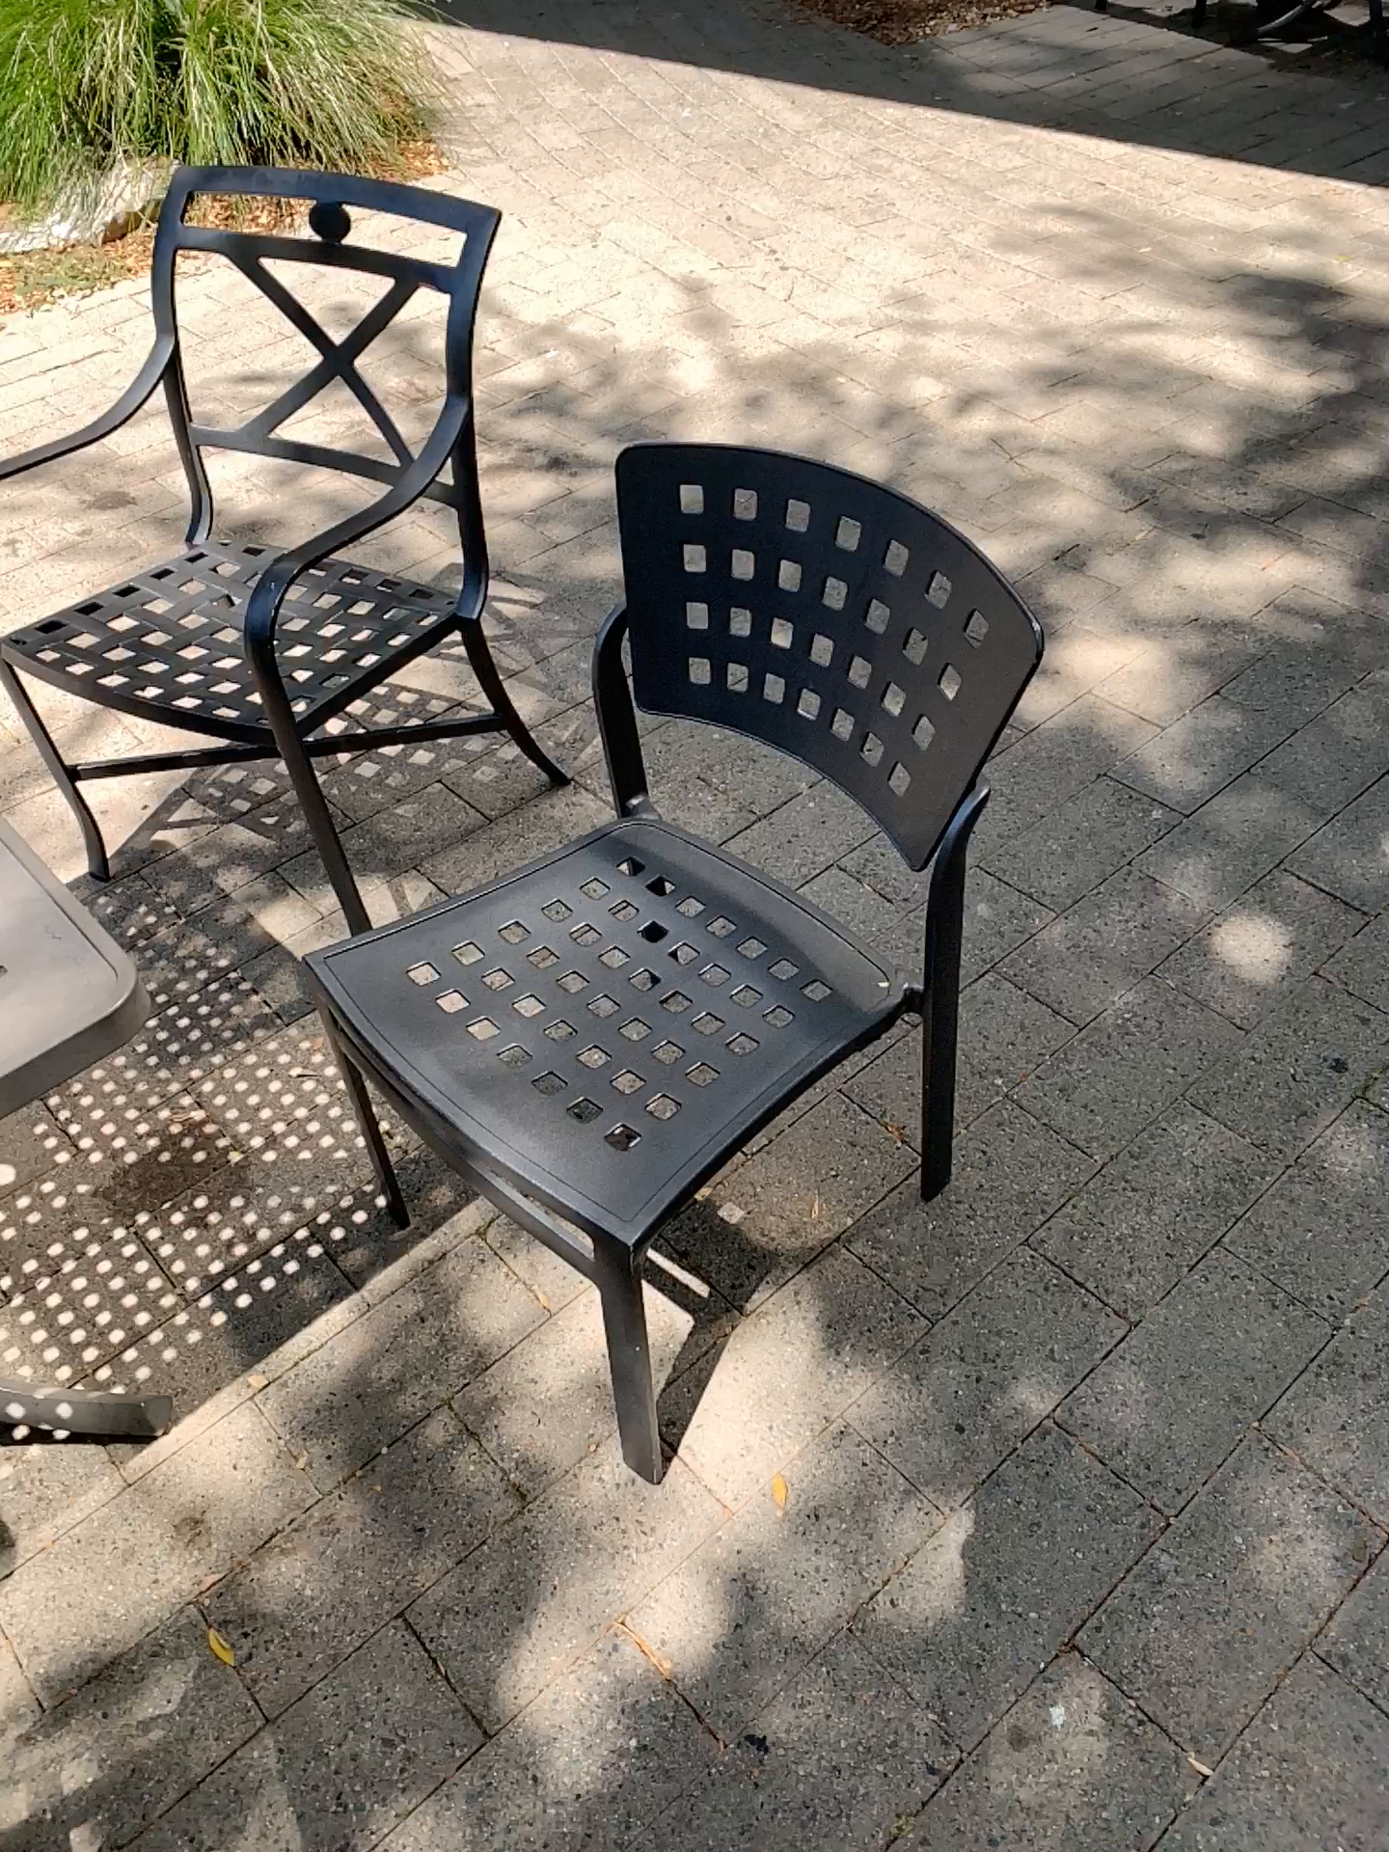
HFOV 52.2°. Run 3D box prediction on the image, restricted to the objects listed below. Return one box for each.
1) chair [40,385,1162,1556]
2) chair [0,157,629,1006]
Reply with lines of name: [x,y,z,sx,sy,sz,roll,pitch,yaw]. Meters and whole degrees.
chair: [-0.058,0.012,1.379,0.622,0.706,0.651,32,54,31]
chair: [-0.541,-0.466,1.855,0.621,0.756,0.652,18,48,20]
